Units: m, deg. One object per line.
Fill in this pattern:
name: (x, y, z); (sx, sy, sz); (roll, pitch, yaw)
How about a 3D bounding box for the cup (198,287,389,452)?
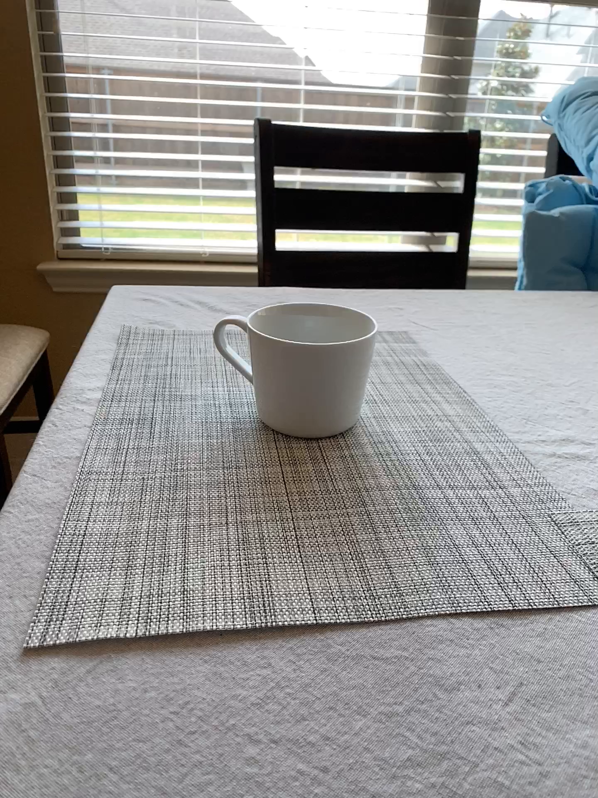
cup: (-0.002, -0.029, 0.485); (0.121, 0.081, 0.100); (10, 26, 14)
